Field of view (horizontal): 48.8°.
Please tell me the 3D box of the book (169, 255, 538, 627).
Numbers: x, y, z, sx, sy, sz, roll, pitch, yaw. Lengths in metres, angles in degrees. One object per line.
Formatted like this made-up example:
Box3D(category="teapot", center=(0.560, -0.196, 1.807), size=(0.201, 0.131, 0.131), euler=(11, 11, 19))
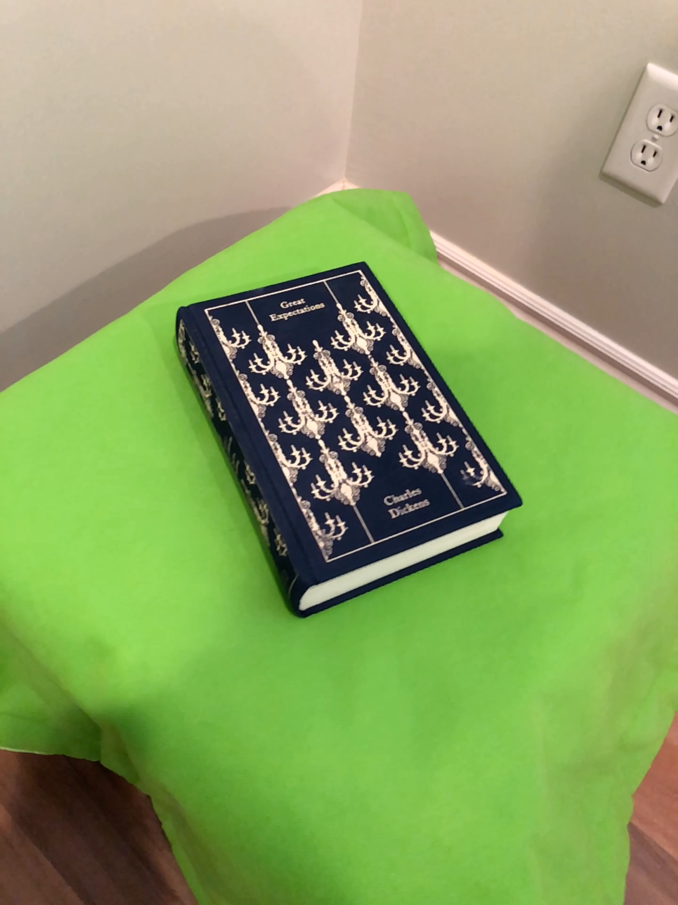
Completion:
Box3D(category="book", center=(0.000, -0.021, 0.453), size=(0.140, 0.040, 0.210), euler=(-19, 60, -18))
